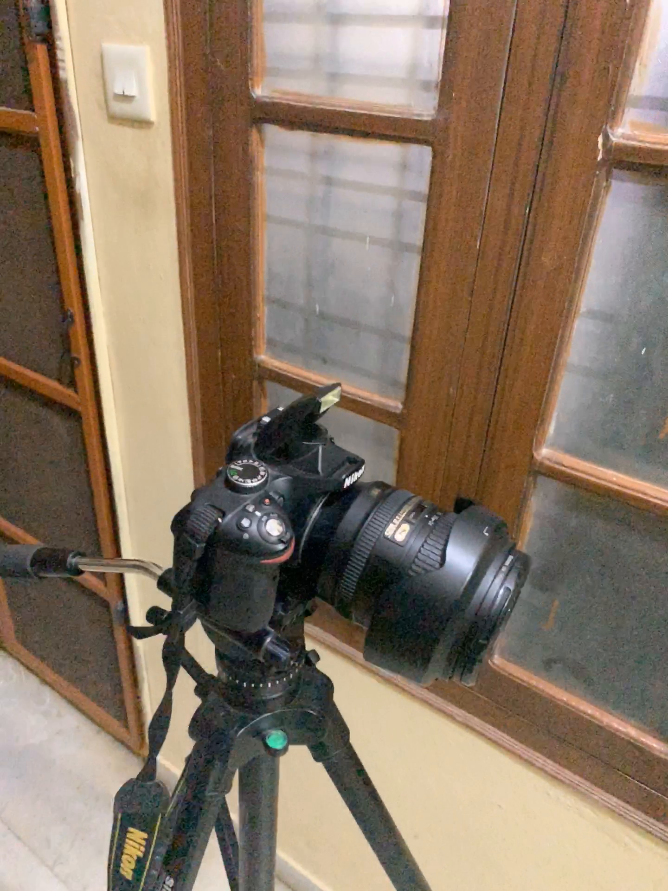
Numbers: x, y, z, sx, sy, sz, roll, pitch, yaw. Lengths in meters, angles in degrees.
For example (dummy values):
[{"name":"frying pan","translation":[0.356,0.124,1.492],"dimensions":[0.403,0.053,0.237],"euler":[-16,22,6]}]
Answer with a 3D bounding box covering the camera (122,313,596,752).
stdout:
[{"name":"camera","translation":[0.014,0.028,0.389],"dimensions":[0.200,0.129,0.150],"euler":[19,33,26]}]
